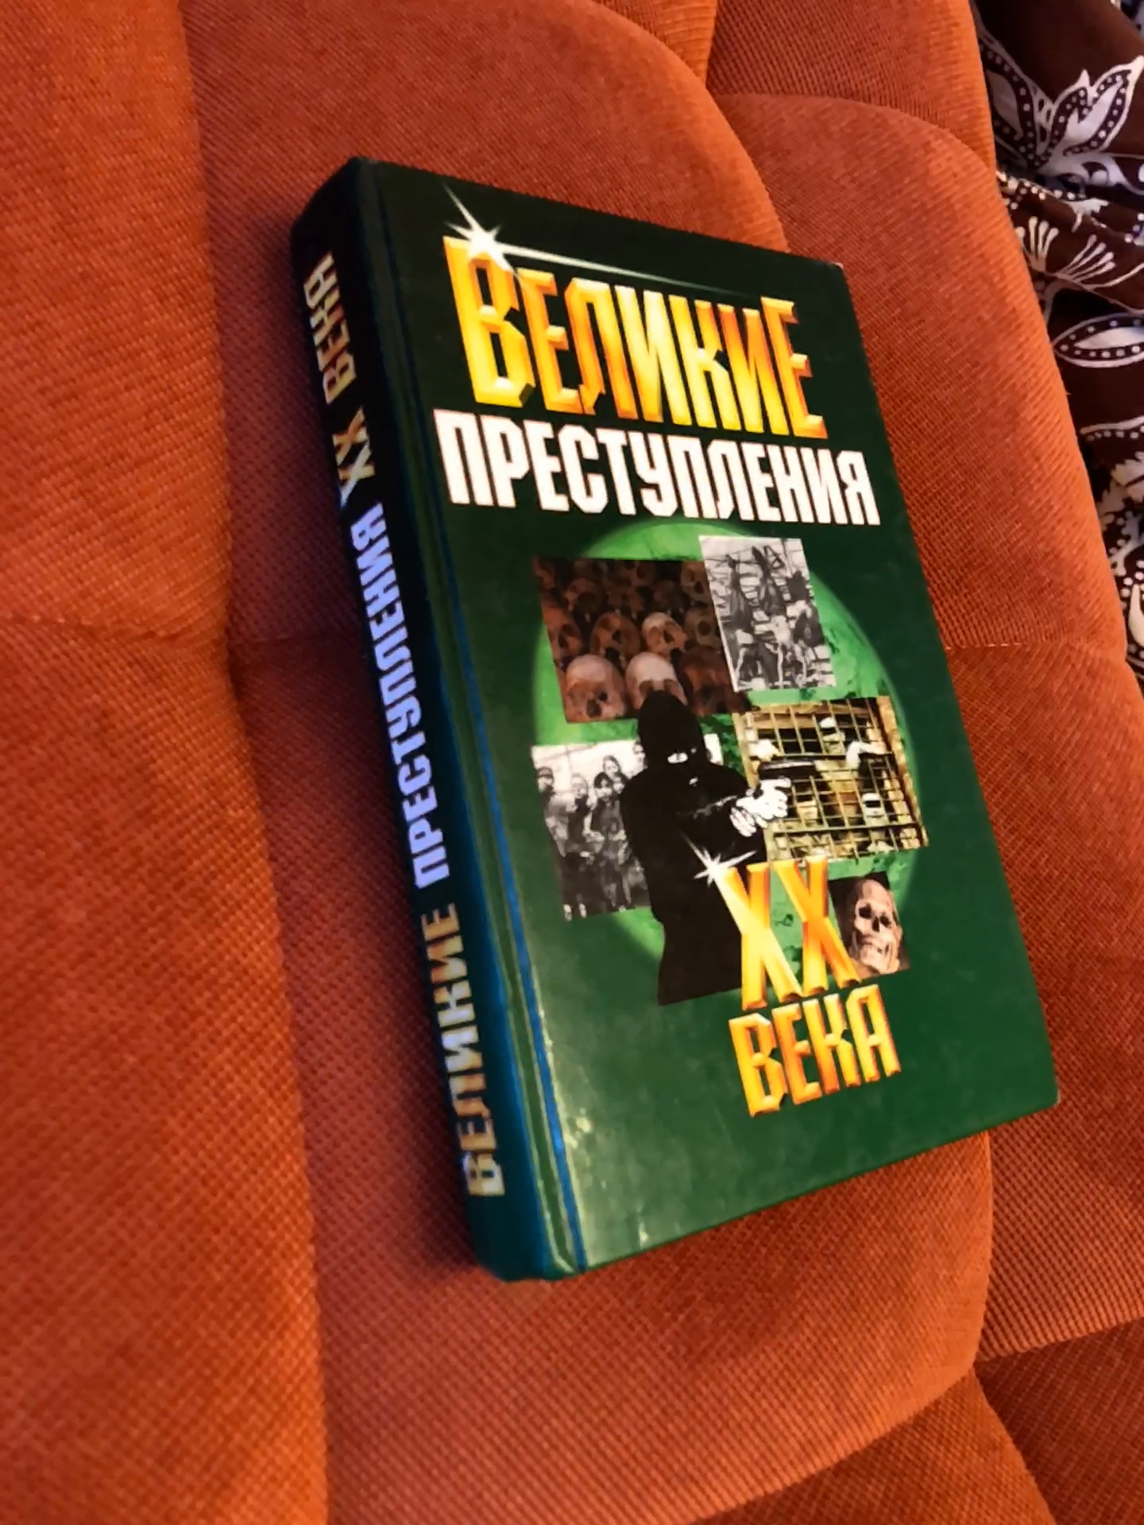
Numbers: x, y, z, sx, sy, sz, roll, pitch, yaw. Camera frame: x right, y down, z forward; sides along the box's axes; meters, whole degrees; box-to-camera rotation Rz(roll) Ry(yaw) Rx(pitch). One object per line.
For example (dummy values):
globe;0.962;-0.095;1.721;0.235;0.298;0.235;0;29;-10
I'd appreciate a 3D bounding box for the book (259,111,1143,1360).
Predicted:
book;0.032;-0.016;0.280;0.161;0.040;0.230;-4;76;-33
